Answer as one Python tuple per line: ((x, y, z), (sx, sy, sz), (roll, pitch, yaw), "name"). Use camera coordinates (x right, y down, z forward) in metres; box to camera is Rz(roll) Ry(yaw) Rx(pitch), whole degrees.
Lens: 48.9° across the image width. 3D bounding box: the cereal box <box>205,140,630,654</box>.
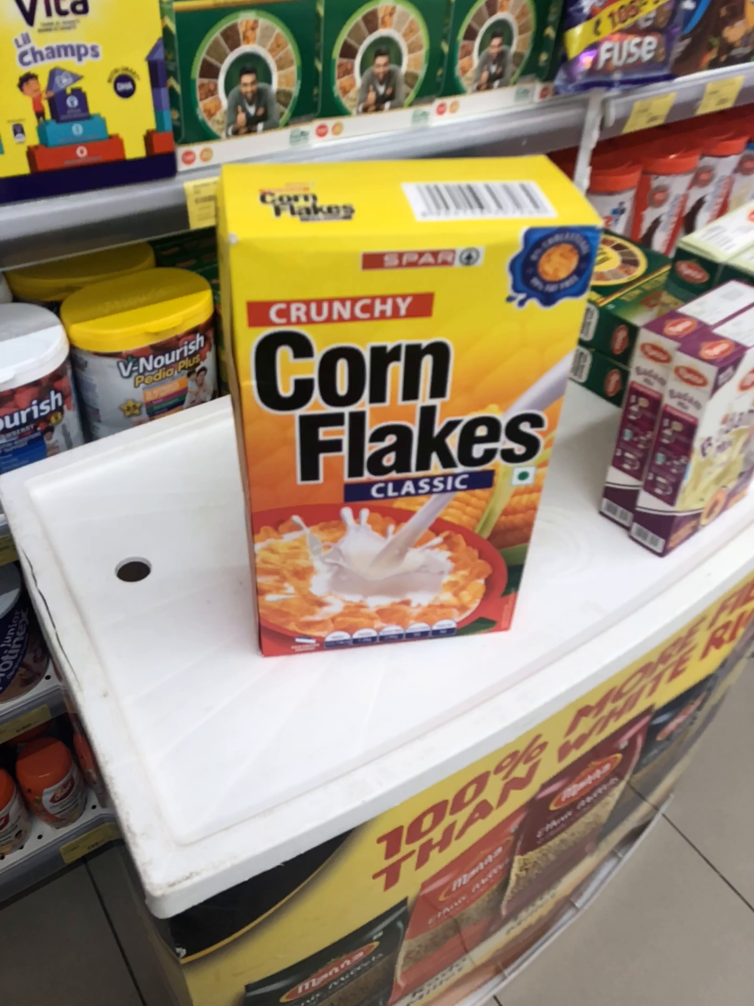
((0.008, -0.048, 0.524), (0.200, 0.319, 0.090), (-4, 43, -9), "cereal box")
